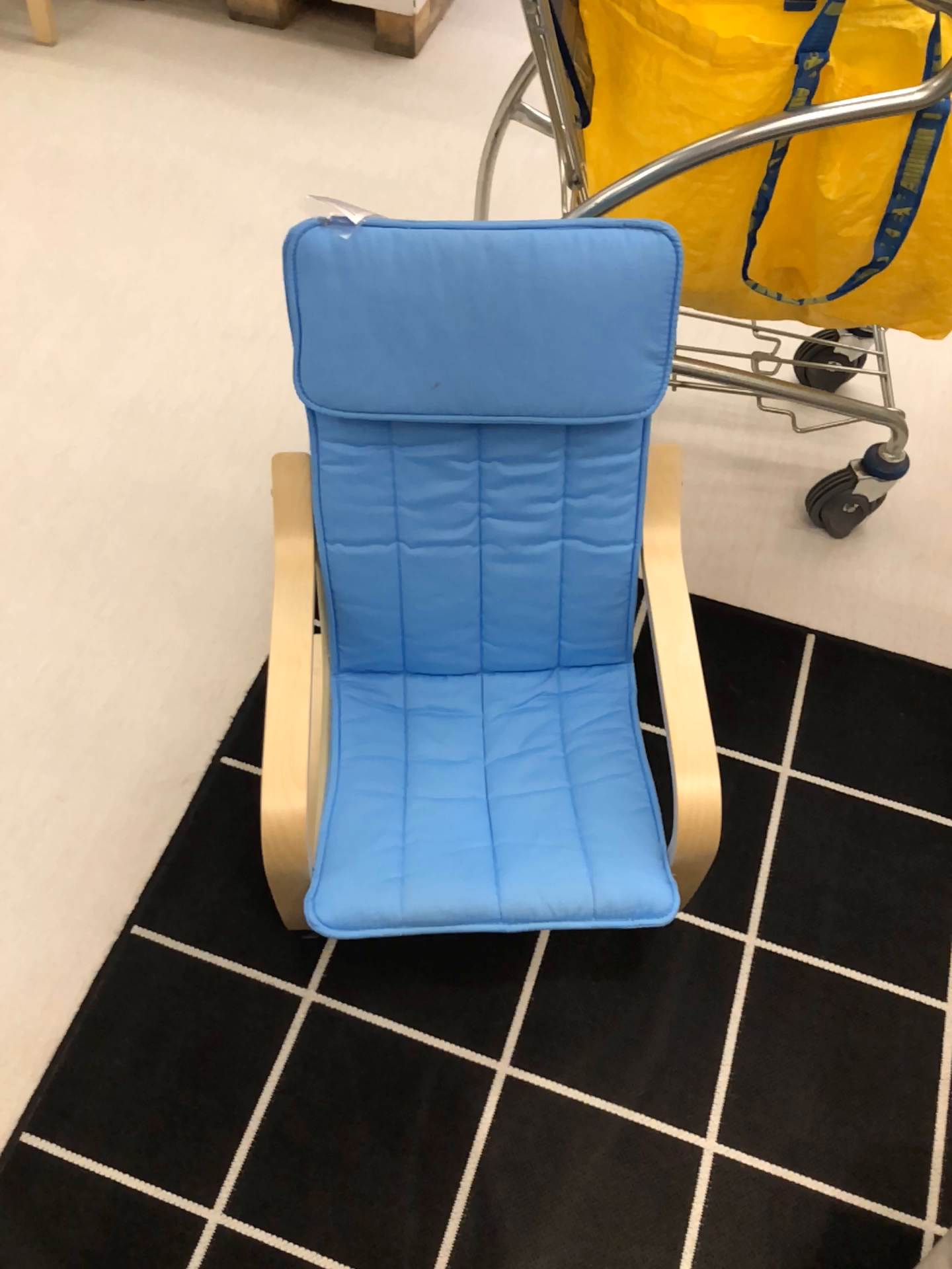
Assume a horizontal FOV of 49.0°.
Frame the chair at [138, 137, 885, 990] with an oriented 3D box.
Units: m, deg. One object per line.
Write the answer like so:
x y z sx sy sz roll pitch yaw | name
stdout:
0.004 0.003 1.205 0.490 0.876 0.563 -1 57 -3 | chair
